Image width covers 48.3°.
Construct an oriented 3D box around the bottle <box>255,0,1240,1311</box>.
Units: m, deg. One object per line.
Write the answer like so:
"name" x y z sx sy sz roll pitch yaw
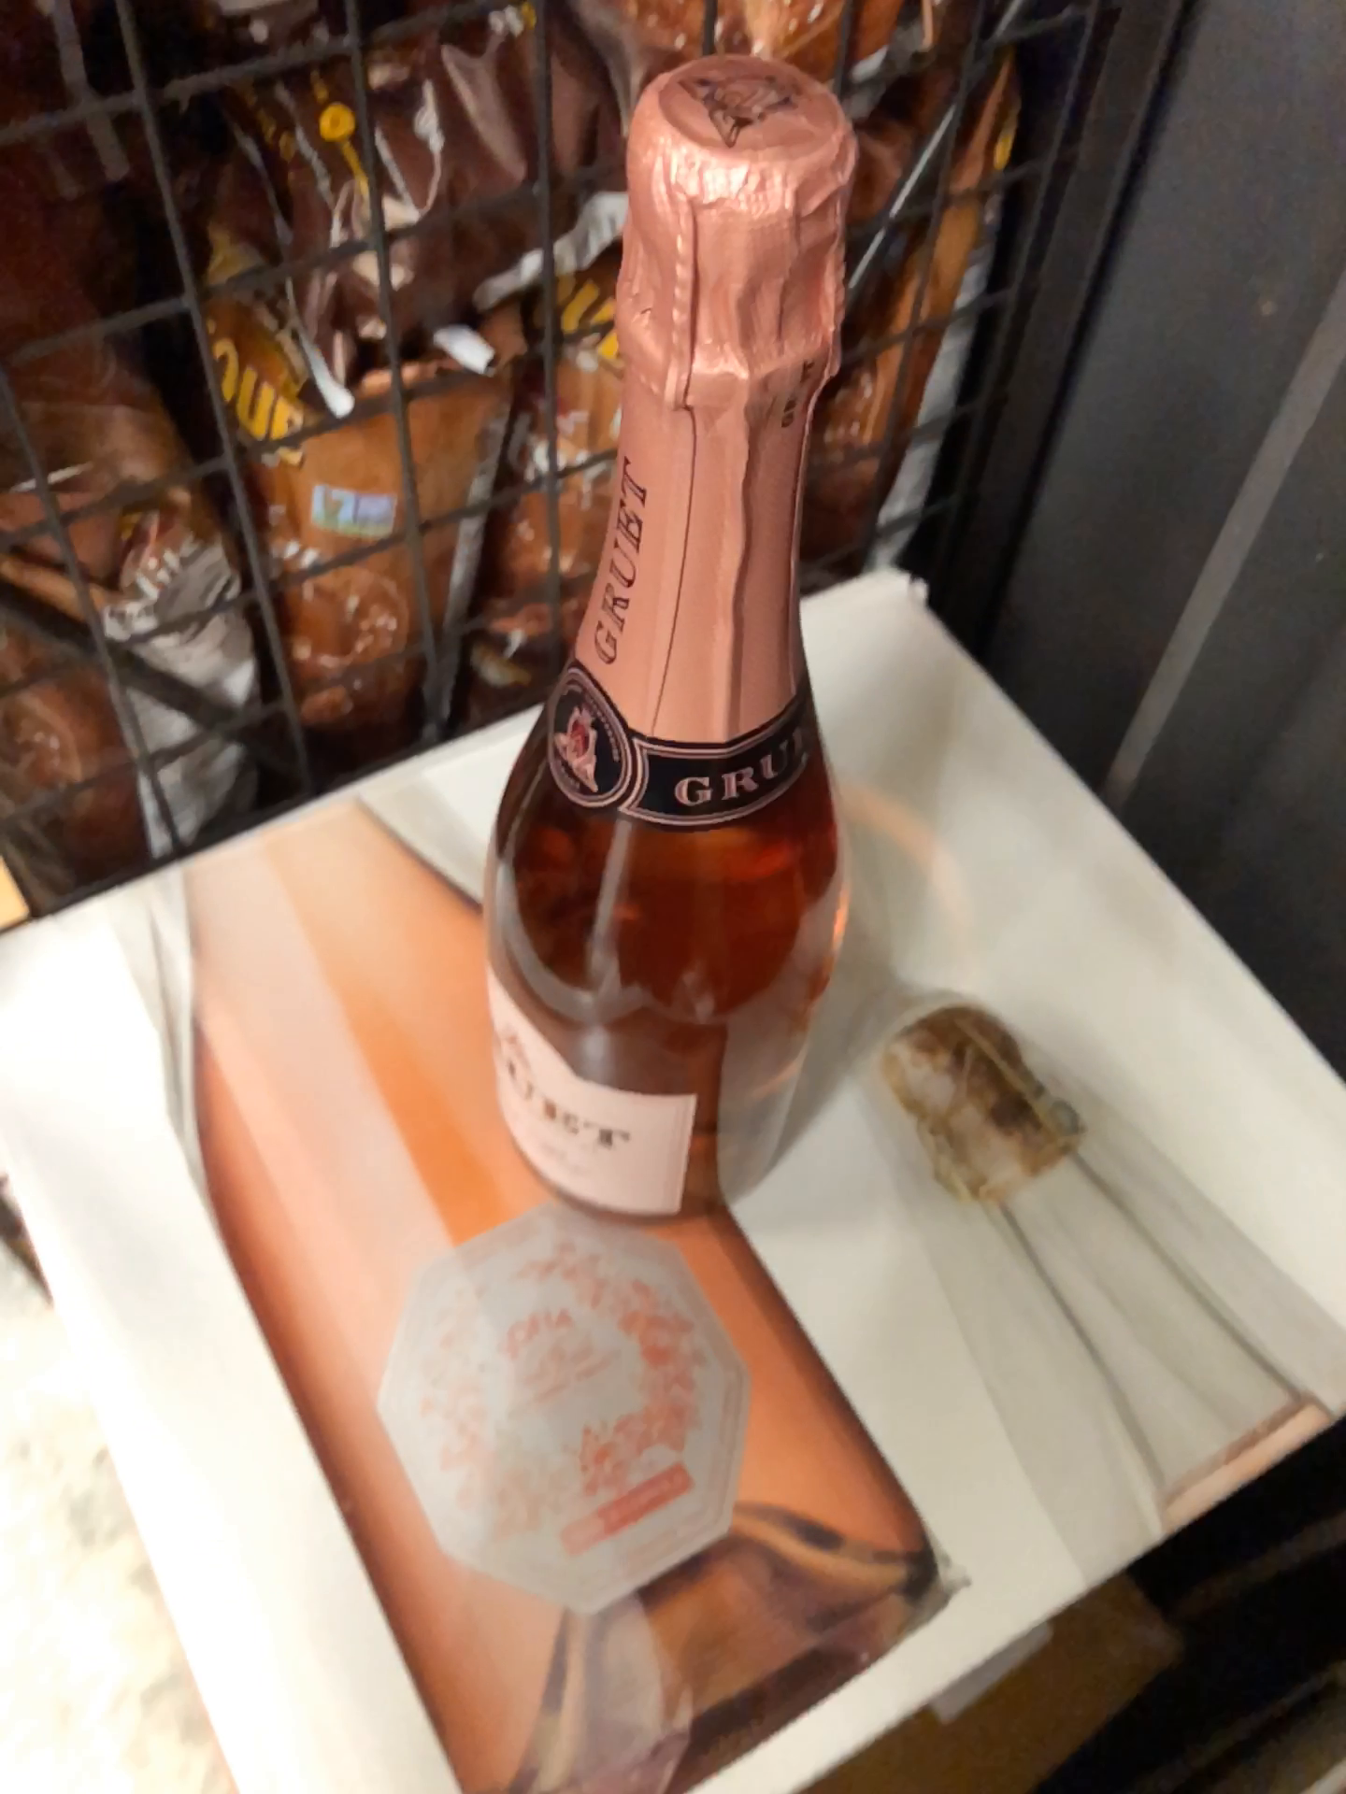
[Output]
"bottle" 0.001 -0.026 0.321 0.090 0.311 0.090 2 56 -3
